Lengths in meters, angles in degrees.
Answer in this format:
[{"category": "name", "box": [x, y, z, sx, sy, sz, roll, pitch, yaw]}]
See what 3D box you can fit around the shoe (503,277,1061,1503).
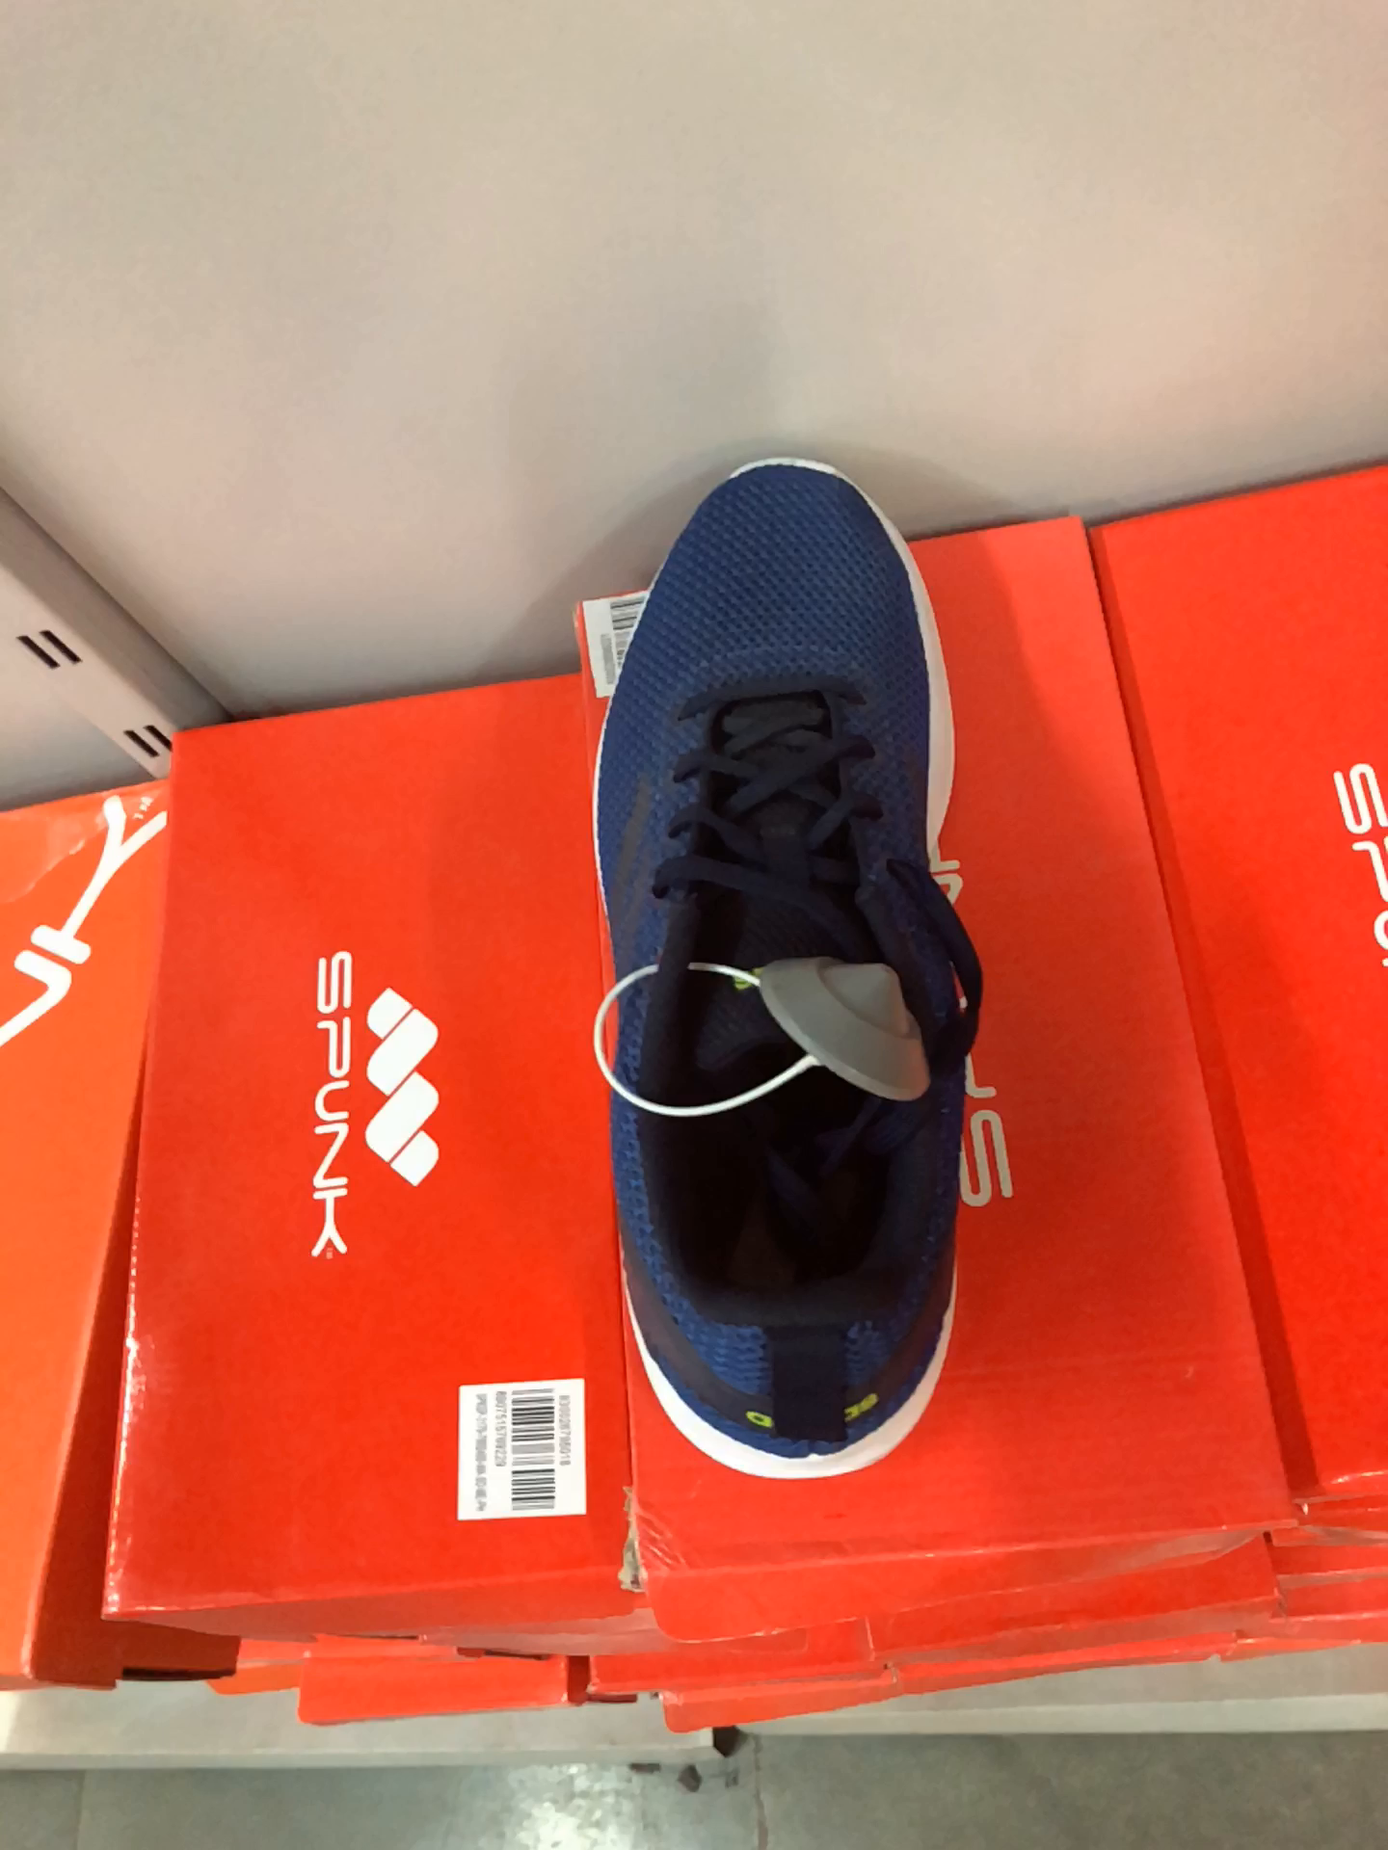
[{"category": "shoe", "box": [0.020, -0.016, 0.430, 0.113, 0.114, 0.316, -7, 62, 8]}]
